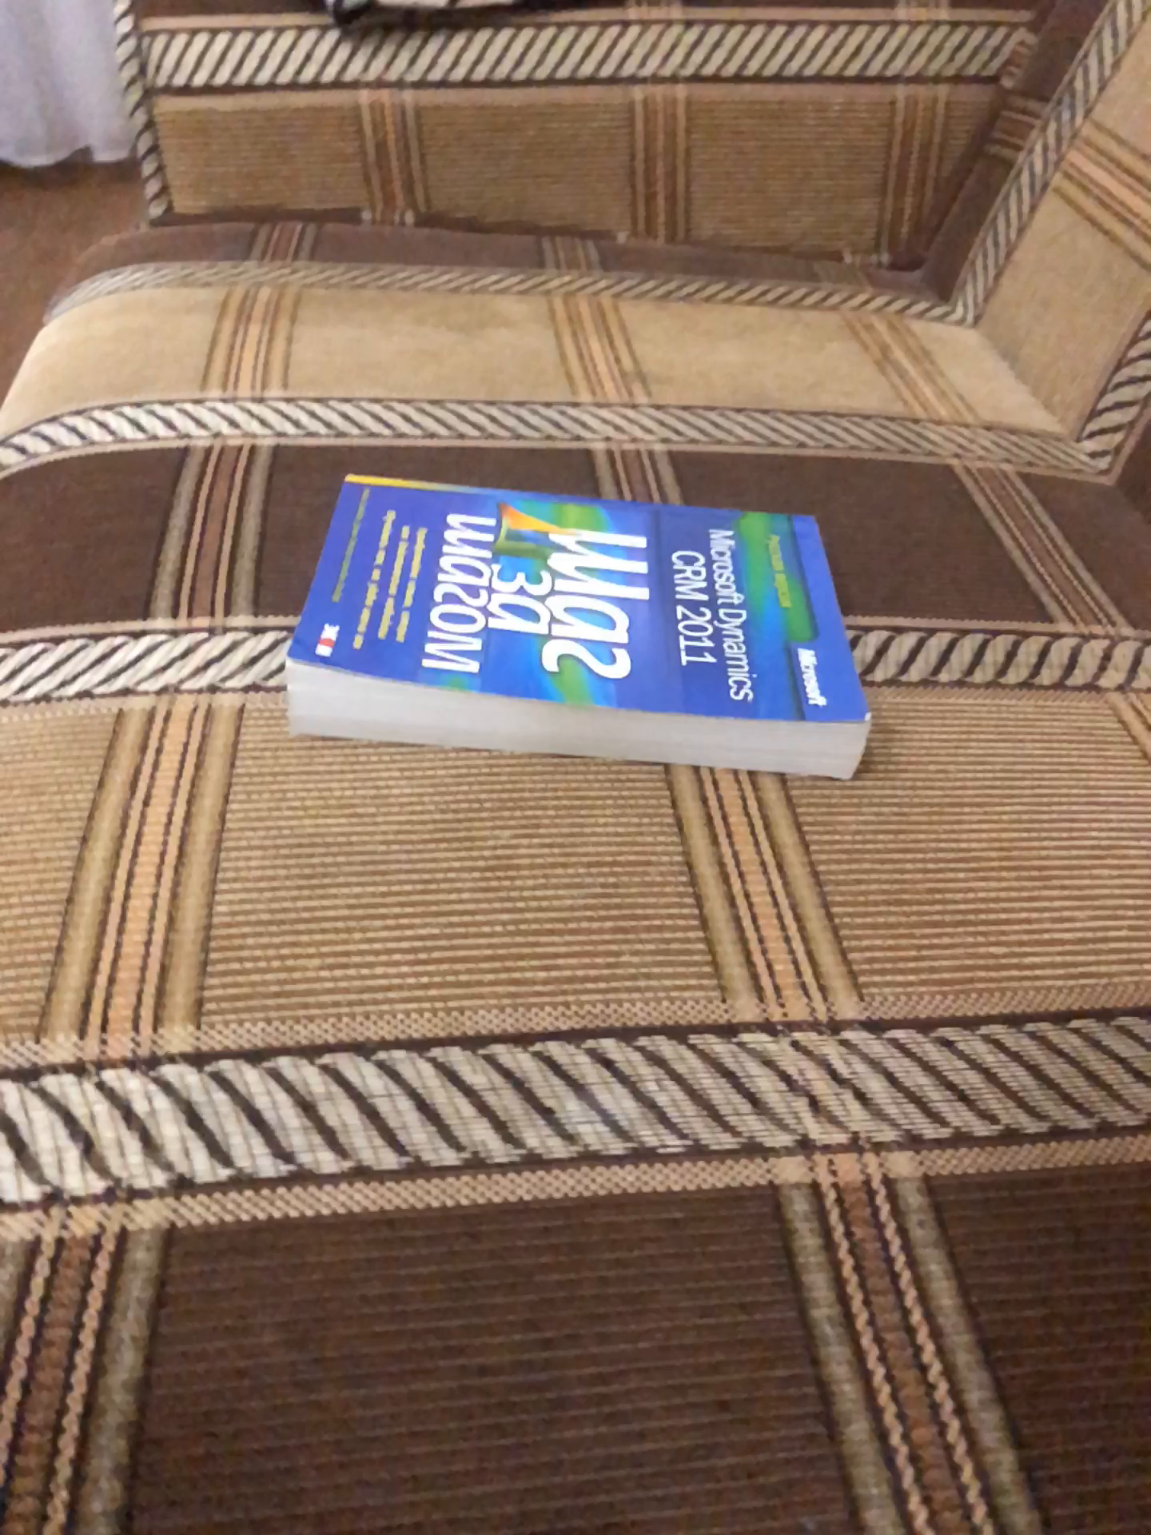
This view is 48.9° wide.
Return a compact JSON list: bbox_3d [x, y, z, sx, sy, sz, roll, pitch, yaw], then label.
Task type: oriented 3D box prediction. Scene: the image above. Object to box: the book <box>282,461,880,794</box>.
[{"bbox_3d":[0.003,-0.060,0.490,0.200,0.033,0.151,4,40,-3],"label":"book"}]
